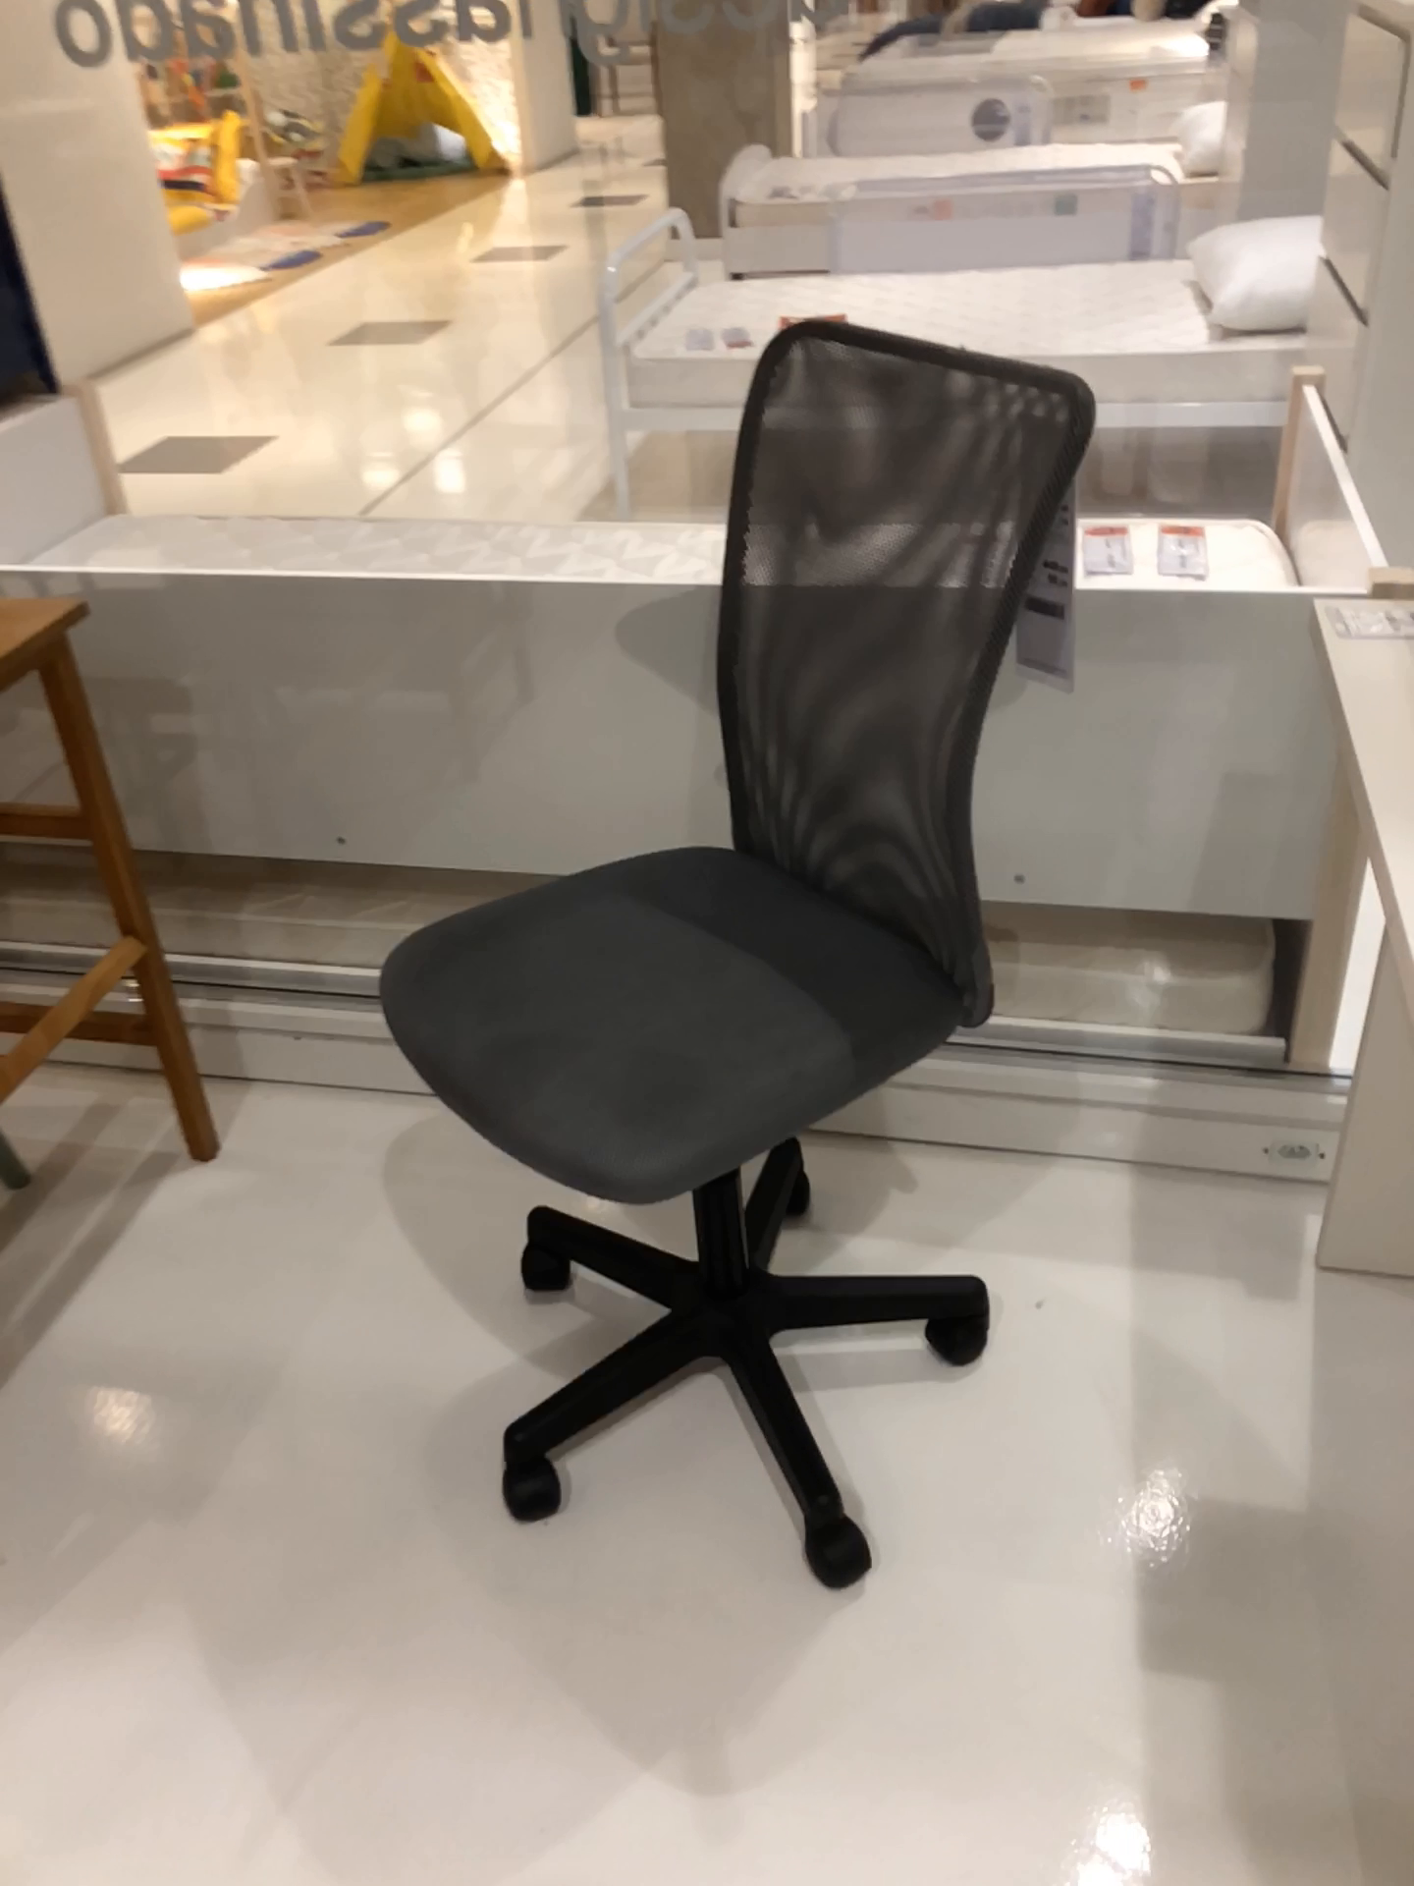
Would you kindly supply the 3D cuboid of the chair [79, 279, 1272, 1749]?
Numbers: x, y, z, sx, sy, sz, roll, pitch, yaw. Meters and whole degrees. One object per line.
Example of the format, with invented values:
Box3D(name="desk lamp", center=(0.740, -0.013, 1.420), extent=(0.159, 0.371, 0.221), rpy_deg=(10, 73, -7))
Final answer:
Box3D(name="chair", center=(-0.011, 0.013, 1.319), extent=(0.602, 0.933, 0.583), rpy_deg=(-25, 38, -29))
